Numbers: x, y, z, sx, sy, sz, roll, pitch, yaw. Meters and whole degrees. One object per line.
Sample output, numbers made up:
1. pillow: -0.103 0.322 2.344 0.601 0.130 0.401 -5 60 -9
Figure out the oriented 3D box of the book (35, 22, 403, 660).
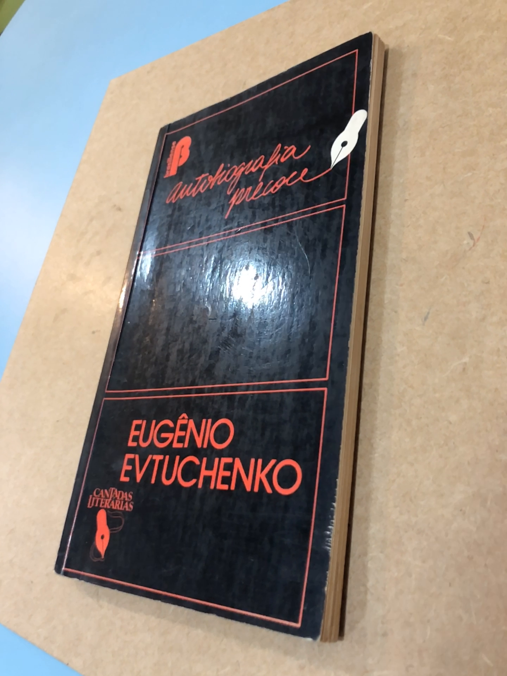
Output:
1. book: -0.011 -0.010 0.198 0.114 0.016 0.190 -7 64 38
